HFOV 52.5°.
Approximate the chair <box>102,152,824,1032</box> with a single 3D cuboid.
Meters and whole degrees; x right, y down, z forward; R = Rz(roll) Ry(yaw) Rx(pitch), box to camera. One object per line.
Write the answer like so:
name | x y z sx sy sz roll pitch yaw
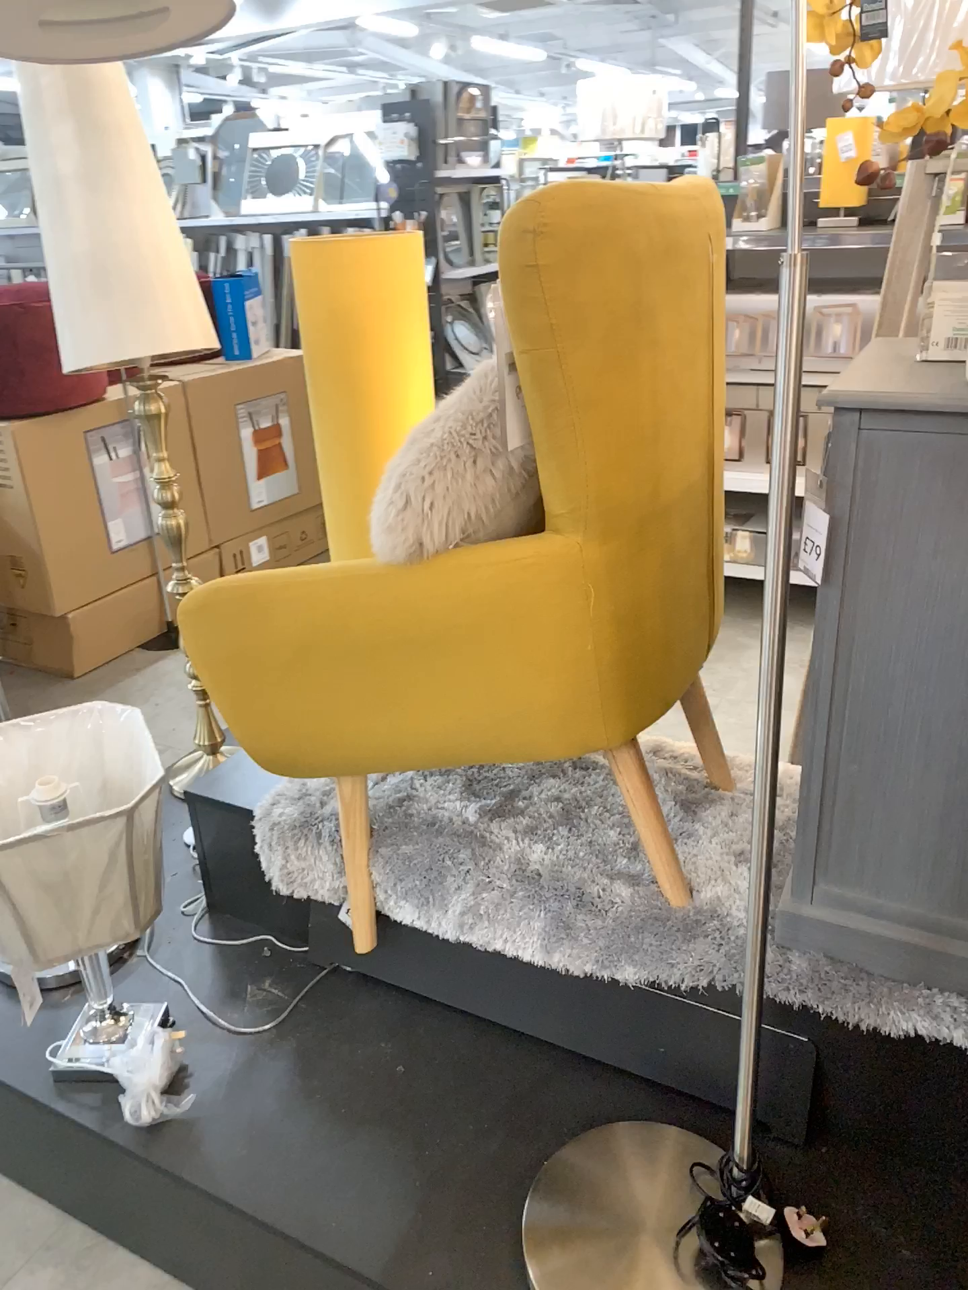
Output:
chair | 0.054 -0.098 1.486 0.710 1.023 0.594 -1 22 29
